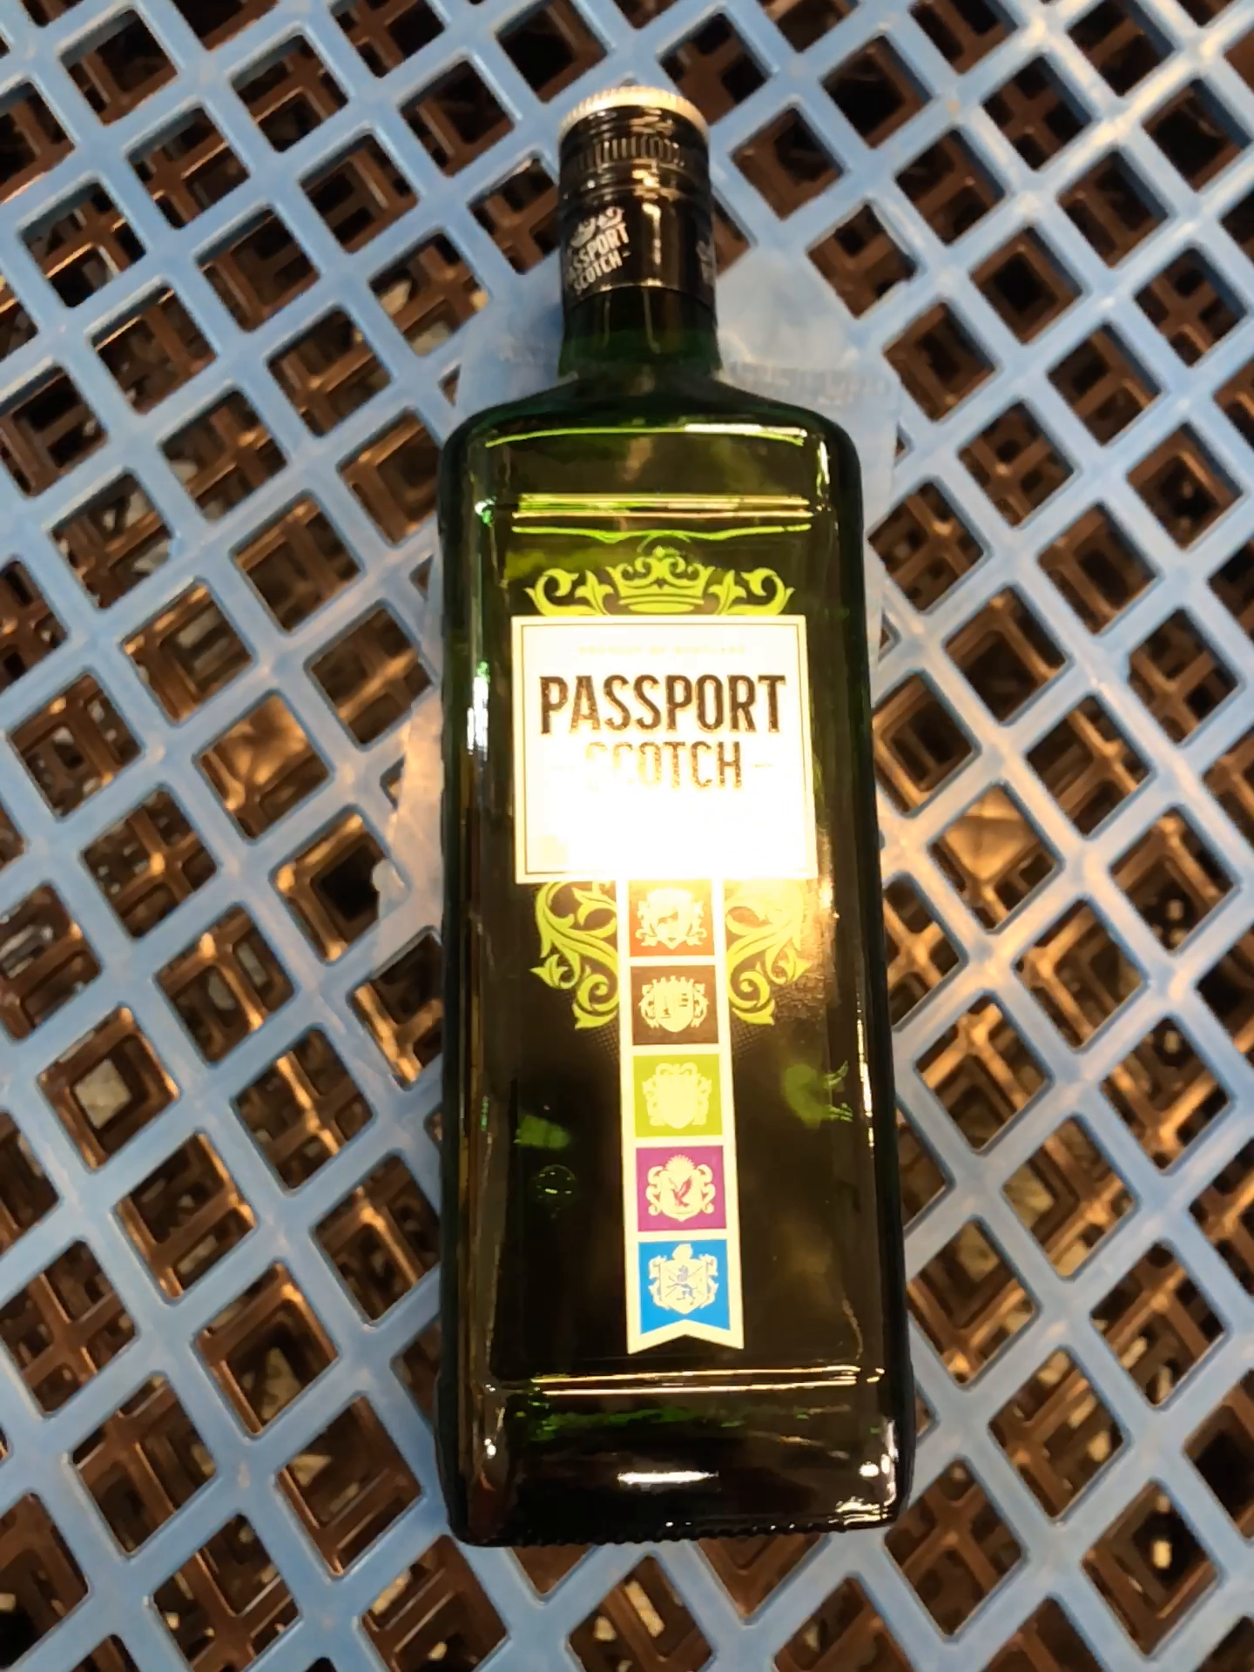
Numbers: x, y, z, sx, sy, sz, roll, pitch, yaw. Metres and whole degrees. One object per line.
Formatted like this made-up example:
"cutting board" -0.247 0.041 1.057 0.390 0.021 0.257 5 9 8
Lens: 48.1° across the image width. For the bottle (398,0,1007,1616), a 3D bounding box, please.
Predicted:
"bottle" 0.005 -0.028 0.251 0.080 0.070 0.280 -2 79 -2
